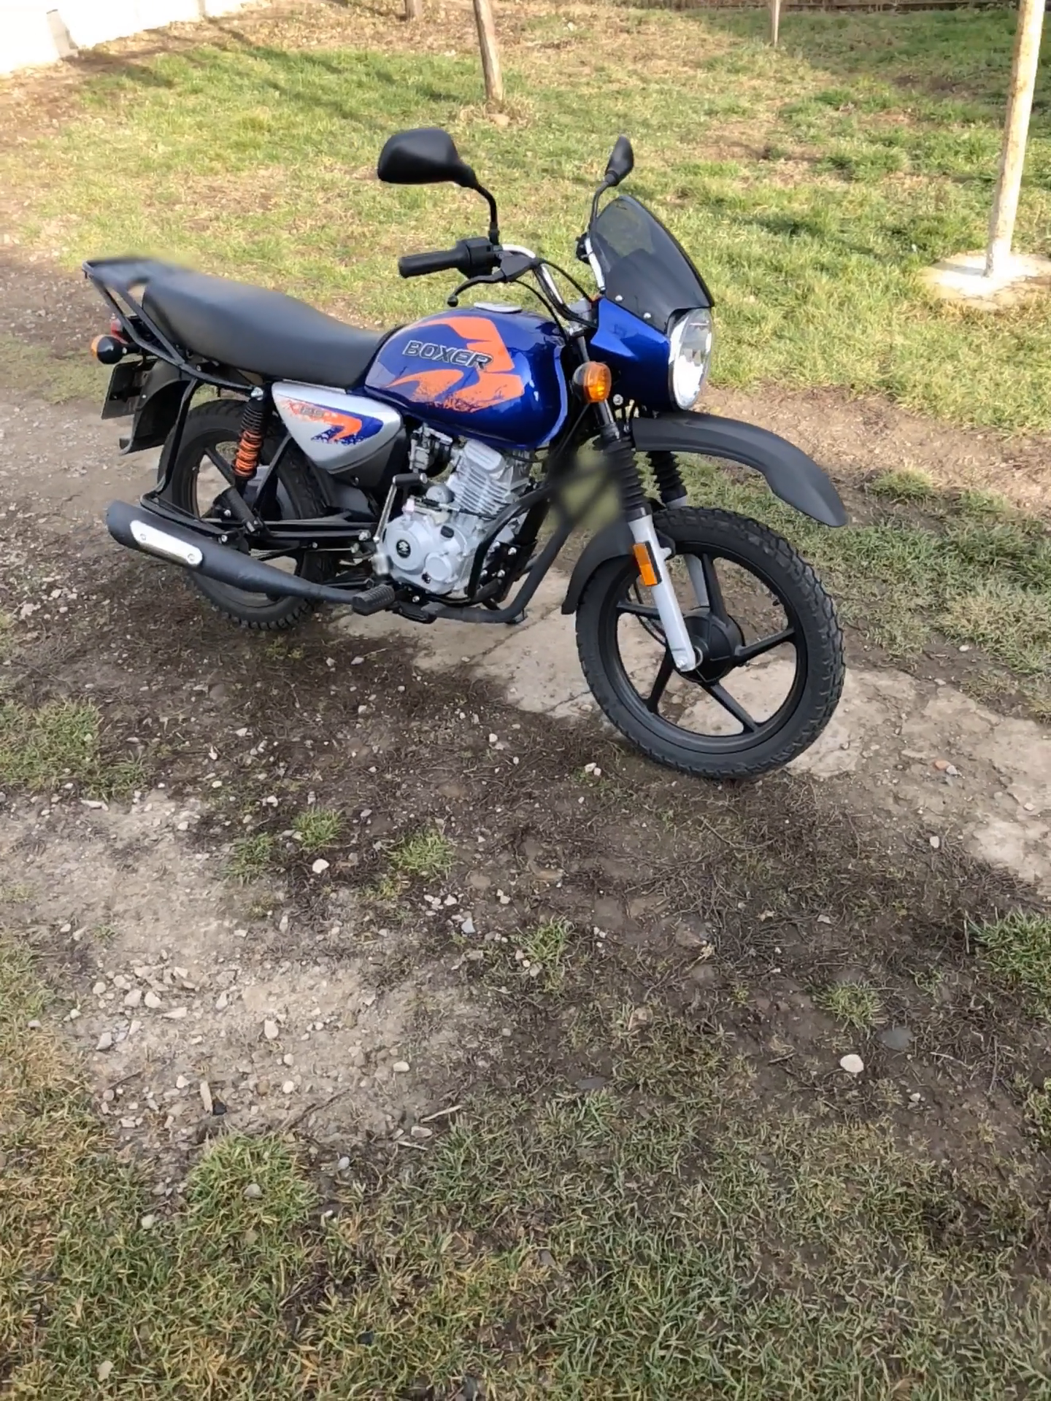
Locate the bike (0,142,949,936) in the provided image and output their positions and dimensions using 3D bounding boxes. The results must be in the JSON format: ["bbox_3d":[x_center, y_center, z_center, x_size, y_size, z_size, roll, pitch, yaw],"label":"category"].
[{"bbox_3d":[-0.148,-0.476,2.527,1.782,1.049,0.811,20,44,27],"label":"bike"}]
